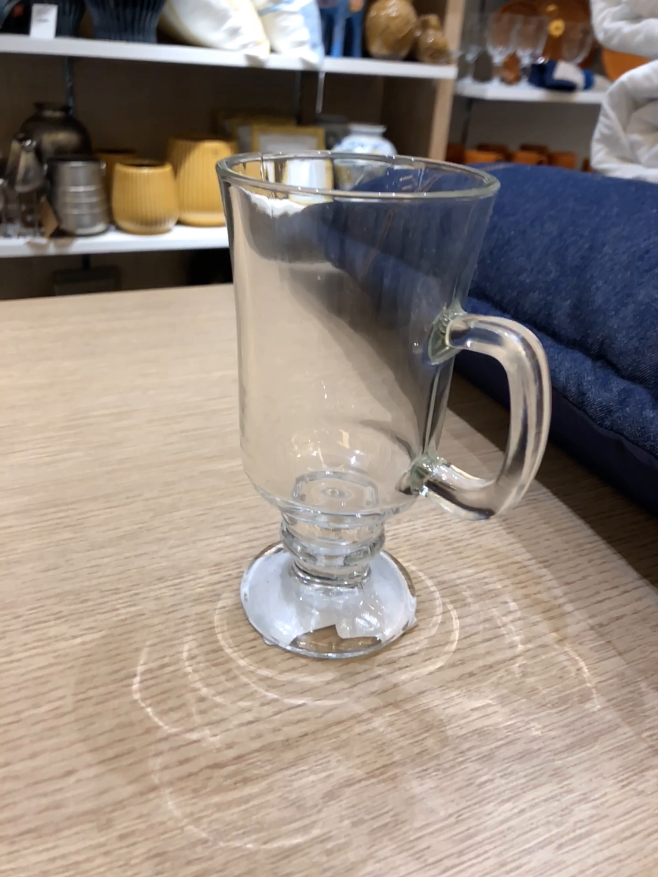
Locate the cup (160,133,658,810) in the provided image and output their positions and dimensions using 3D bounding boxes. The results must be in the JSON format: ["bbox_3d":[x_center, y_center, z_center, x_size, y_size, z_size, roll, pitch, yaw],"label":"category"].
[{"bbox_3d":[0.016,-0.003,0.218,0.090,0.149,0.111,-13,32,-29],"label":"cup"}]

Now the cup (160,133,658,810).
[{"bbox_3d":[0.016,-0.003,0.218,0.090,0.149,0.111,-13,32,-29],"label":"cup"}]
